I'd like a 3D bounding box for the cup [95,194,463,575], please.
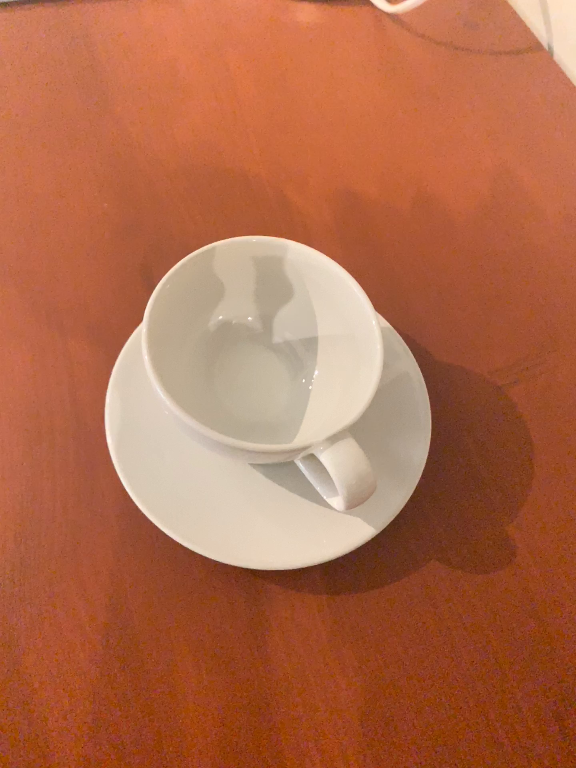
[{"bbox_3d":[-0.007,-0.003,0.224,0.080,0.050,0.110,-26,69,-18],"label":"cup"}]
